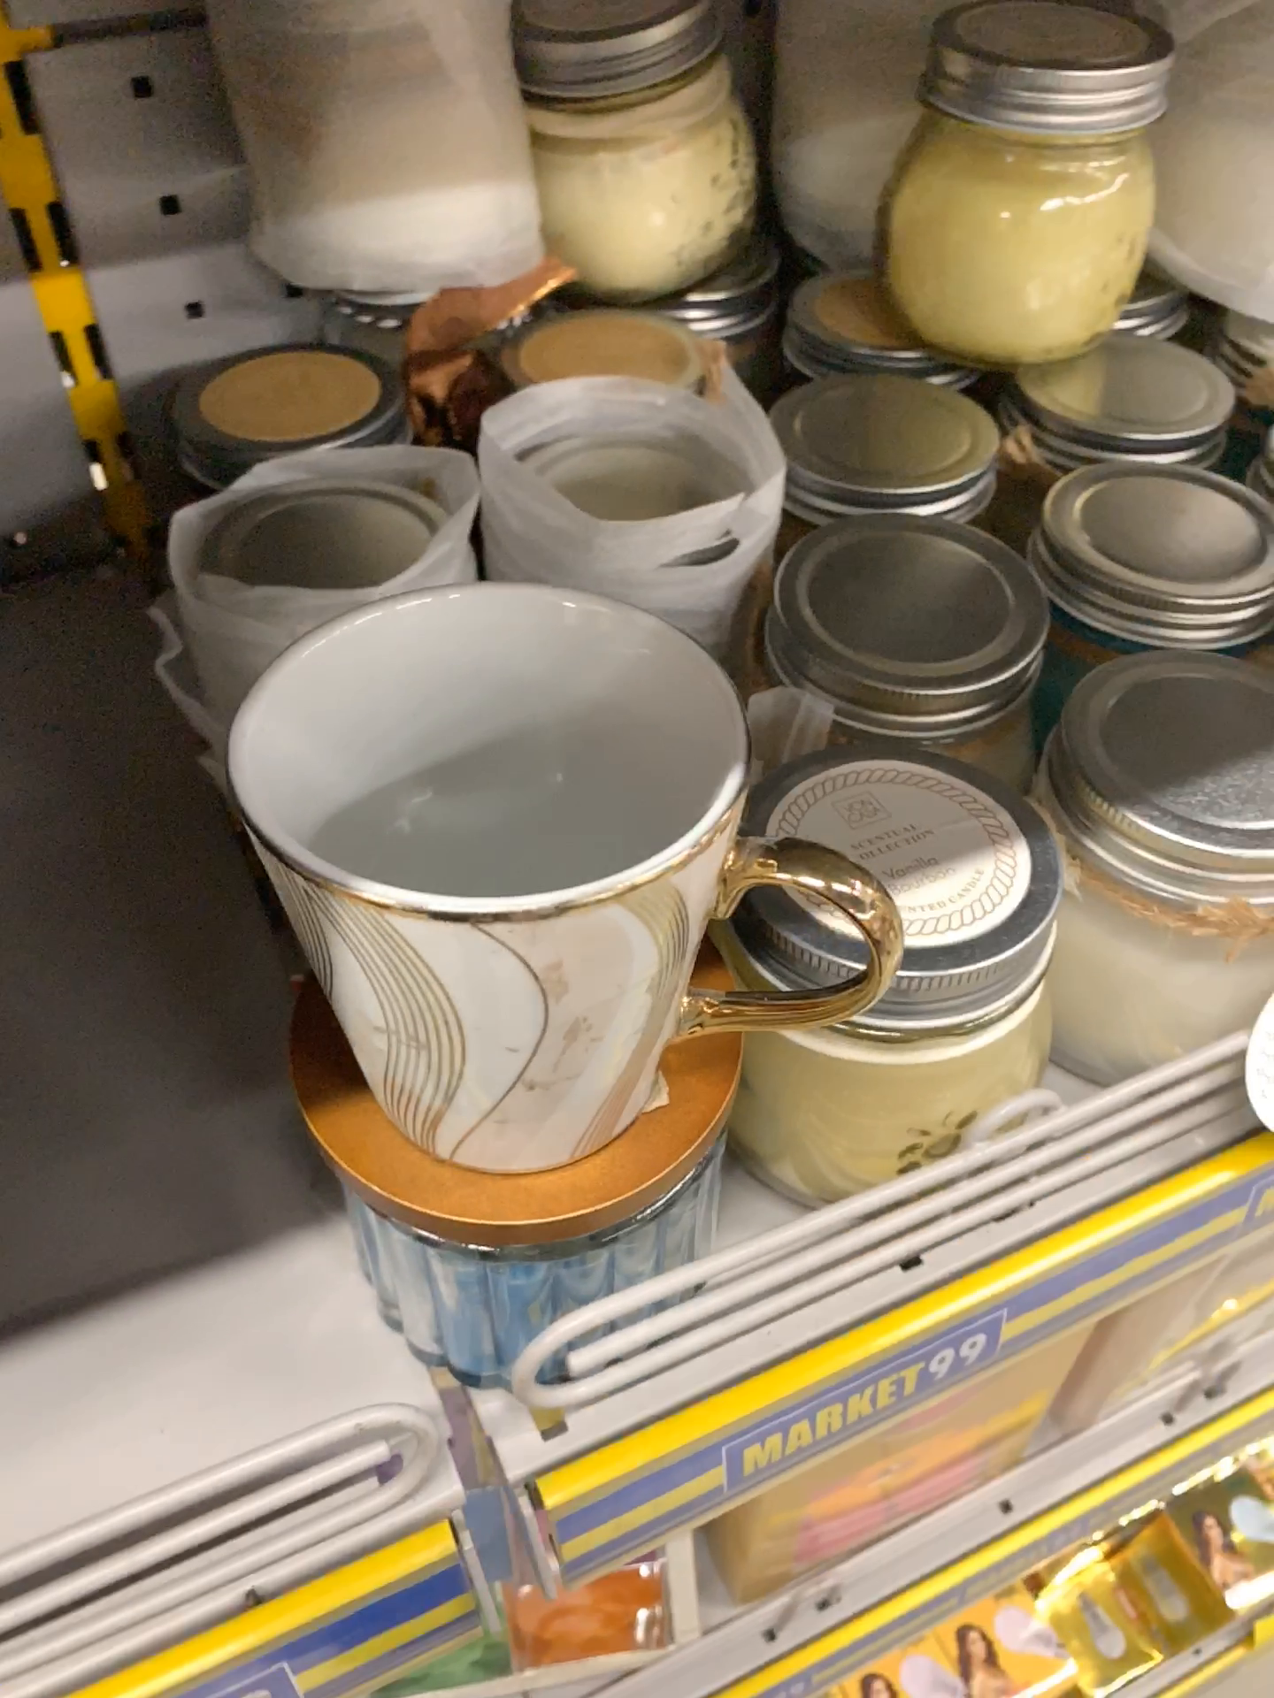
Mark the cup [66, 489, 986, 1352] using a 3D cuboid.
[{"bbox_3d":[-0.010,0.007,0.186,0.090,0.070,0.070,17,48,15],"label":"cup"}]
